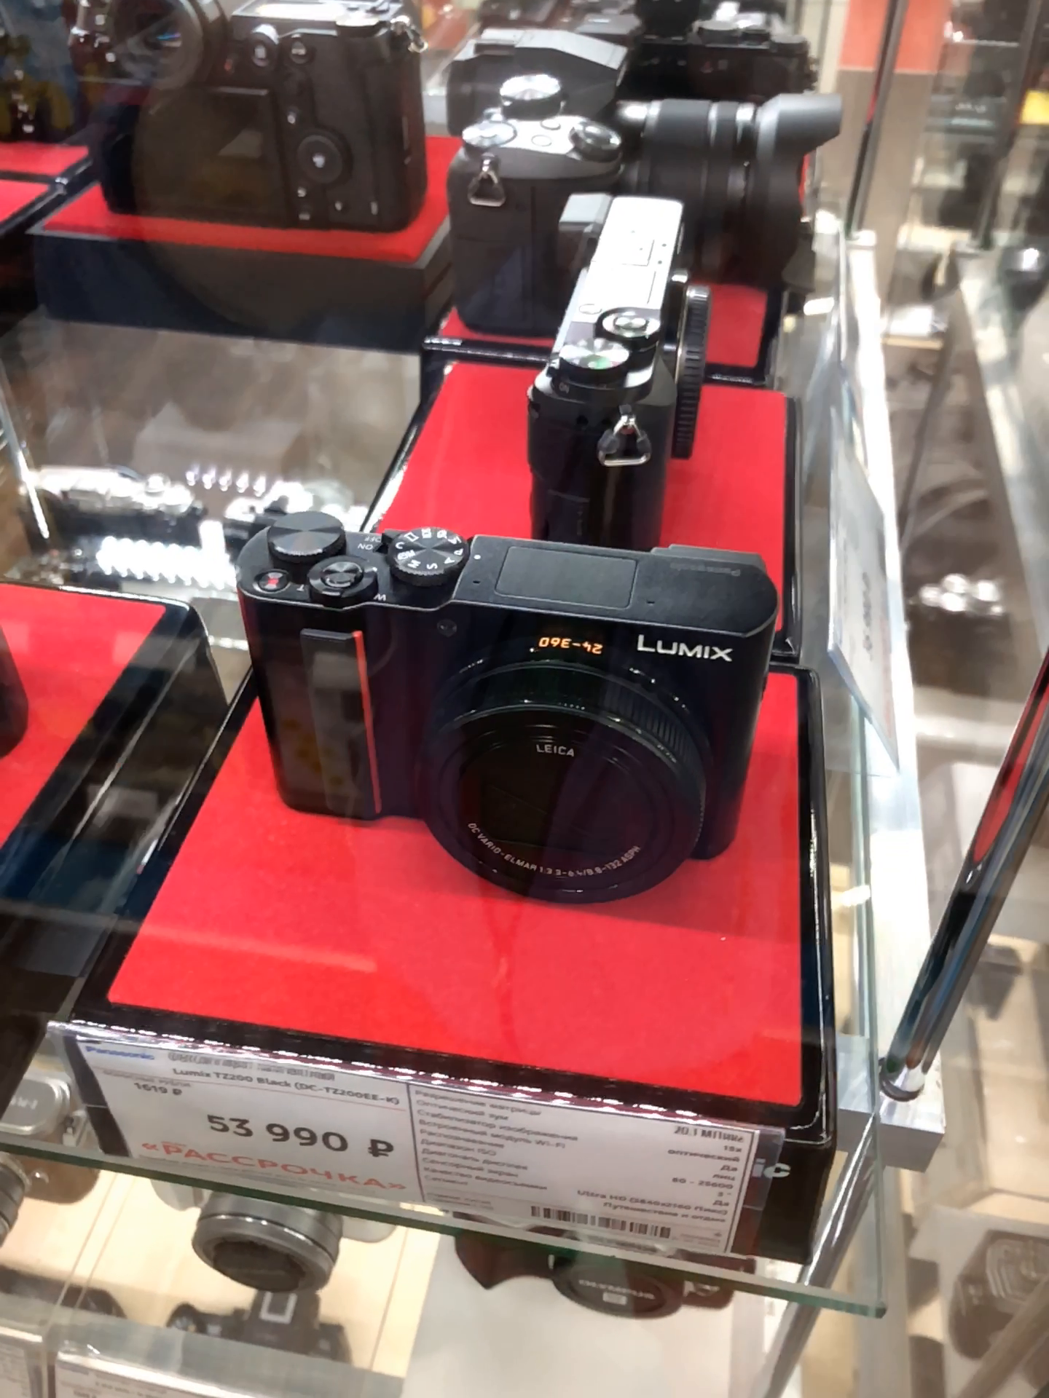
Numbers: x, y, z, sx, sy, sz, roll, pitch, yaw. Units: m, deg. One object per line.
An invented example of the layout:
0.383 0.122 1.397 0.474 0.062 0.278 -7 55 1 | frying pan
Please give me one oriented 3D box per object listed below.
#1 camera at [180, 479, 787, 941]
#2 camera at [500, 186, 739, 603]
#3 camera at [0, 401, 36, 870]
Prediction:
-0.005 0.002 0.250 0.110 0.070 0.052 7 43 7 | camera
0.029 -0.092 0.343 0.054 0.076 0.102 7 43 7 | camera
-0.190 -0.015 0.272 0.114 0.076 0.055 9 43 9 | camera
